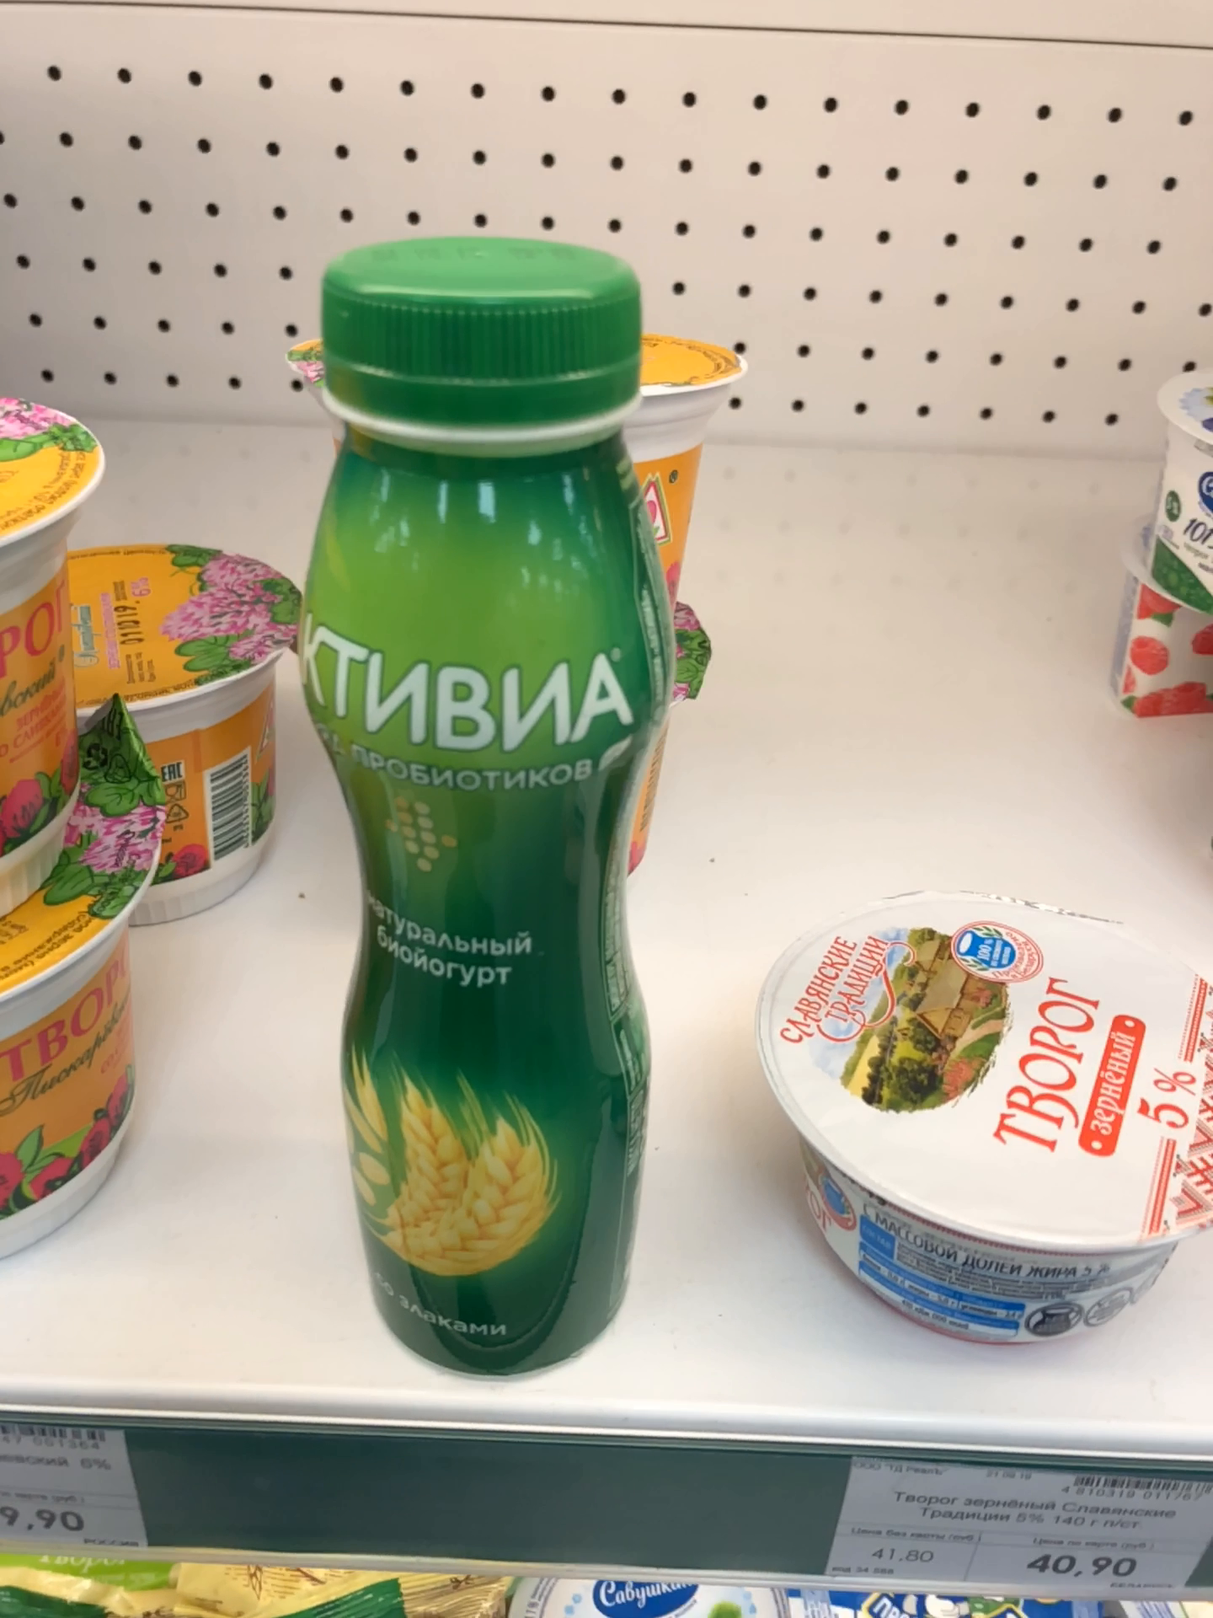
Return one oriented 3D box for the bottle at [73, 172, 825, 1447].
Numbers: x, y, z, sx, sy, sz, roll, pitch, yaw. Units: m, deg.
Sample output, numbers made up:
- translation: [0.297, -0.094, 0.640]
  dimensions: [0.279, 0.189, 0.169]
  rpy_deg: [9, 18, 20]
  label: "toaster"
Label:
- translation: [-0.017, 0.009, 0.209]
  dimensions: [0.070, 0.183, 0.060]
  rpy_deg: [11, 35, 14]
  label: "bottle"
